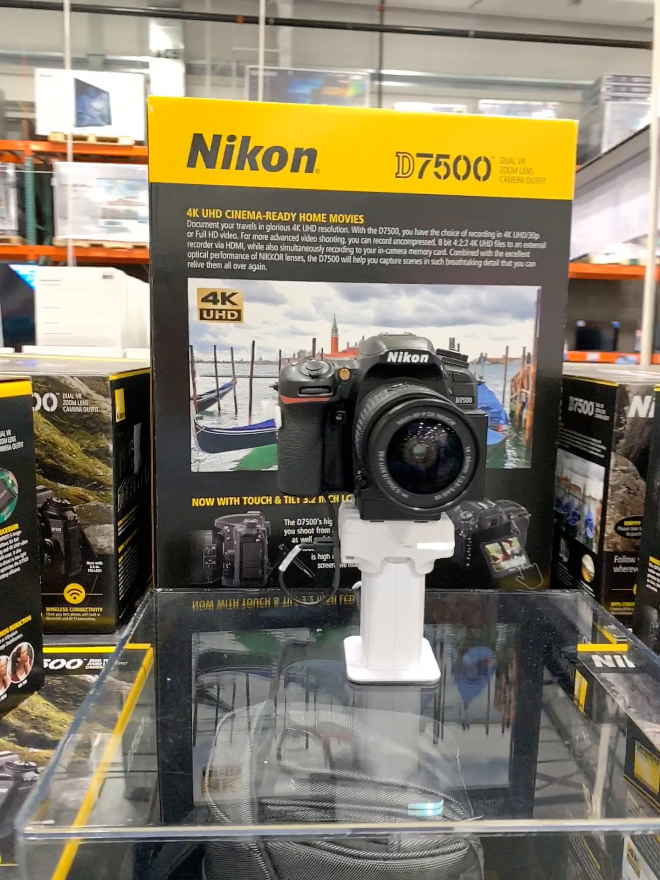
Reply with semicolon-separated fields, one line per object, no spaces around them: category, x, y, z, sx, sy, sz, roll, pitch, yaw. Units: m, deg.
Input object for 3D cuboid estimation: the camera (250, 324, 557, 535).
camera;0.036;-0.012;0.414;0.160;0.110;0.110;1;8;-3
